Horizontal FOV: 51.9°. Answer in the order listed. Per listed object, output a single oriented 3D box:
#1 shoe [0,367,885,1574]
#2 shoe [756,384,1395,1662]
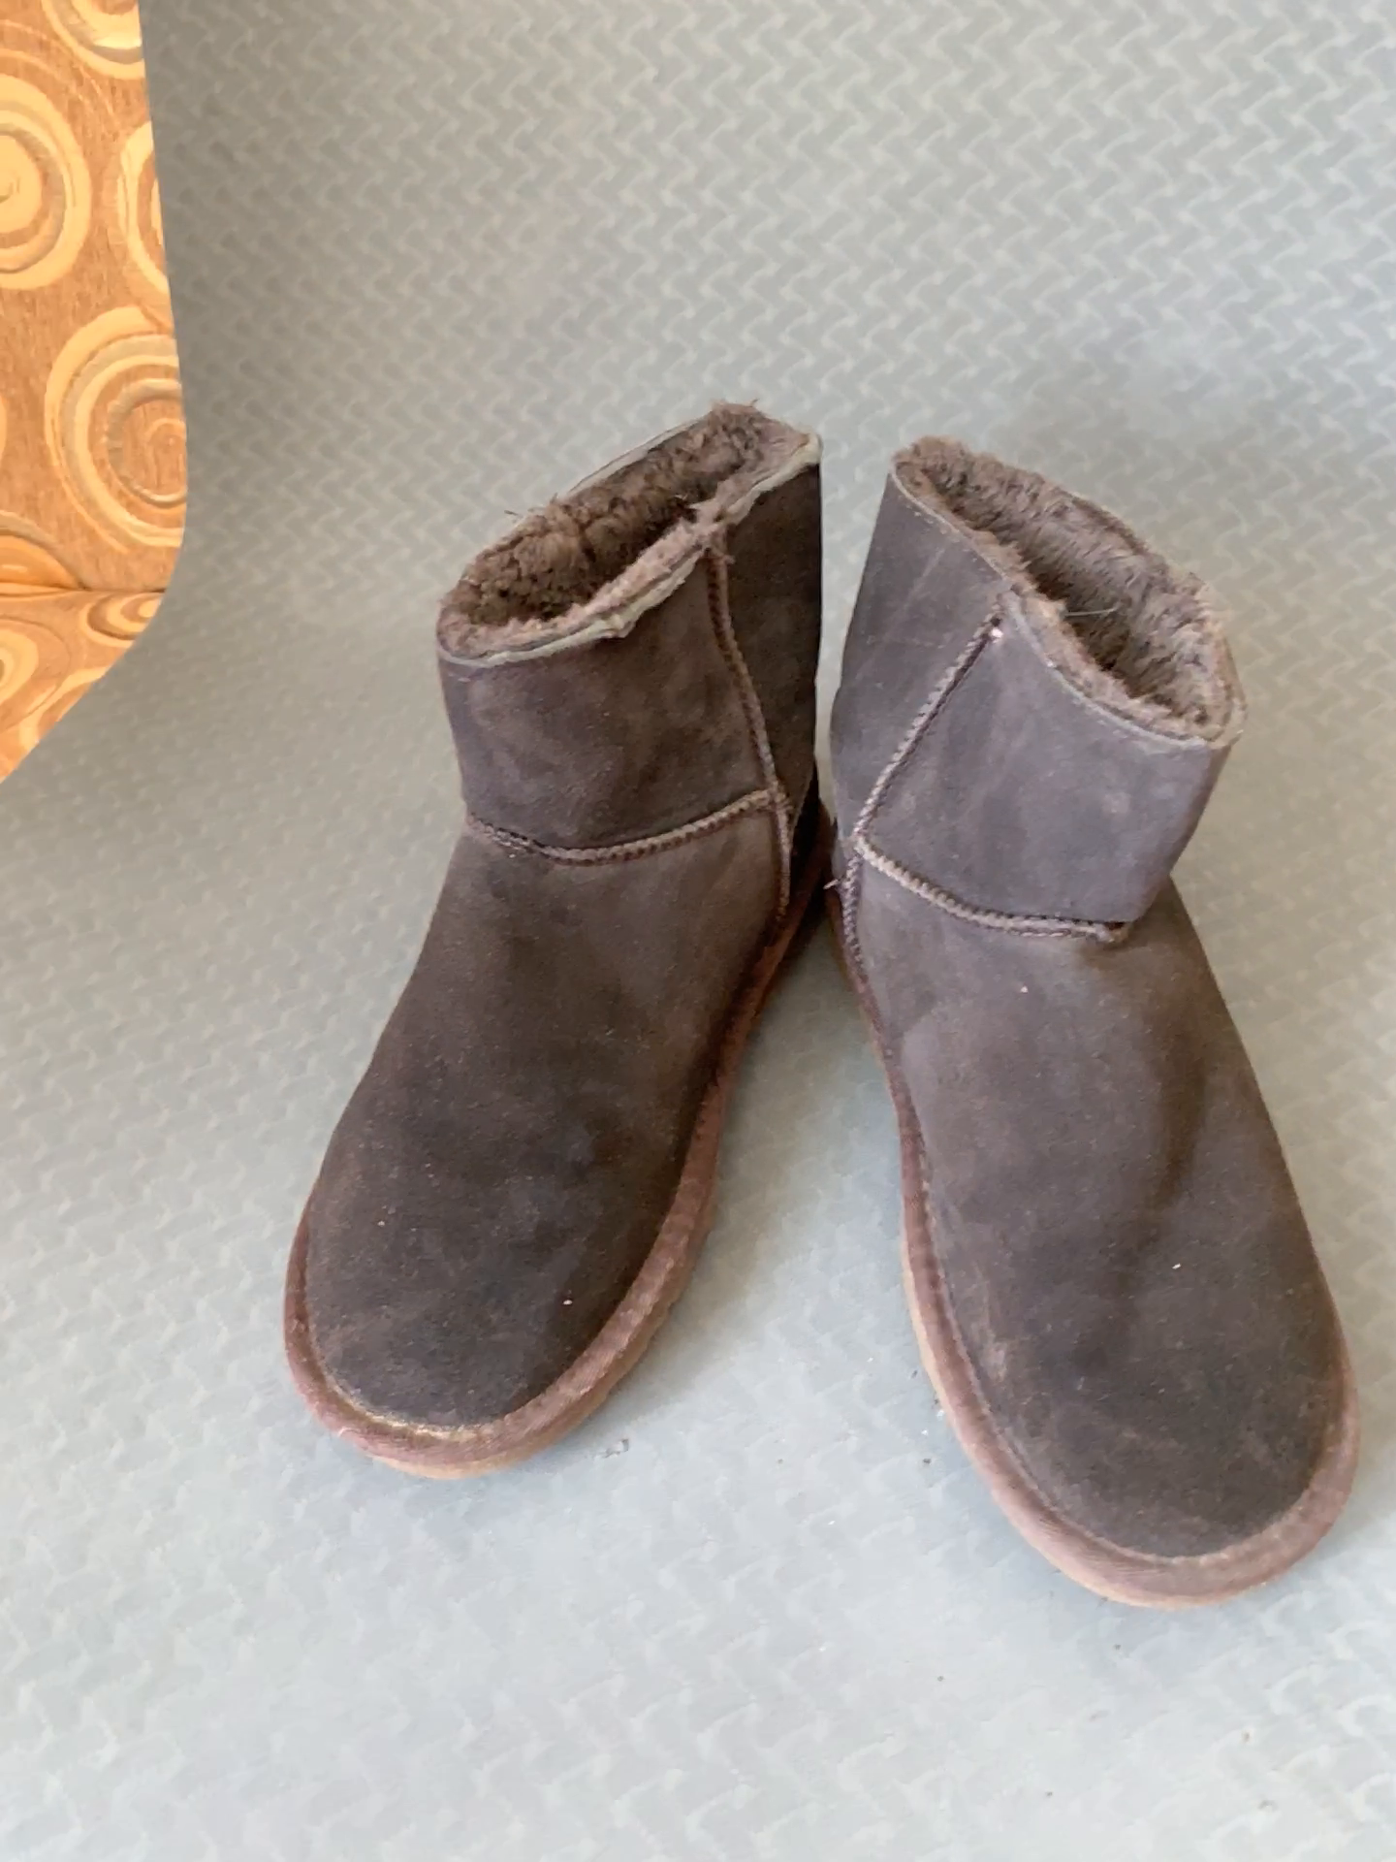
[{"bbox_3d":[-0.038,-0.005,0.357,0.100,0.139,0.254,13,52,14],"label":"shoe"},{"bbox_3d":[0.088,0.007,0.336,0.100,0.139,0.254,-9,50,-5],"label":"shoe"}]
